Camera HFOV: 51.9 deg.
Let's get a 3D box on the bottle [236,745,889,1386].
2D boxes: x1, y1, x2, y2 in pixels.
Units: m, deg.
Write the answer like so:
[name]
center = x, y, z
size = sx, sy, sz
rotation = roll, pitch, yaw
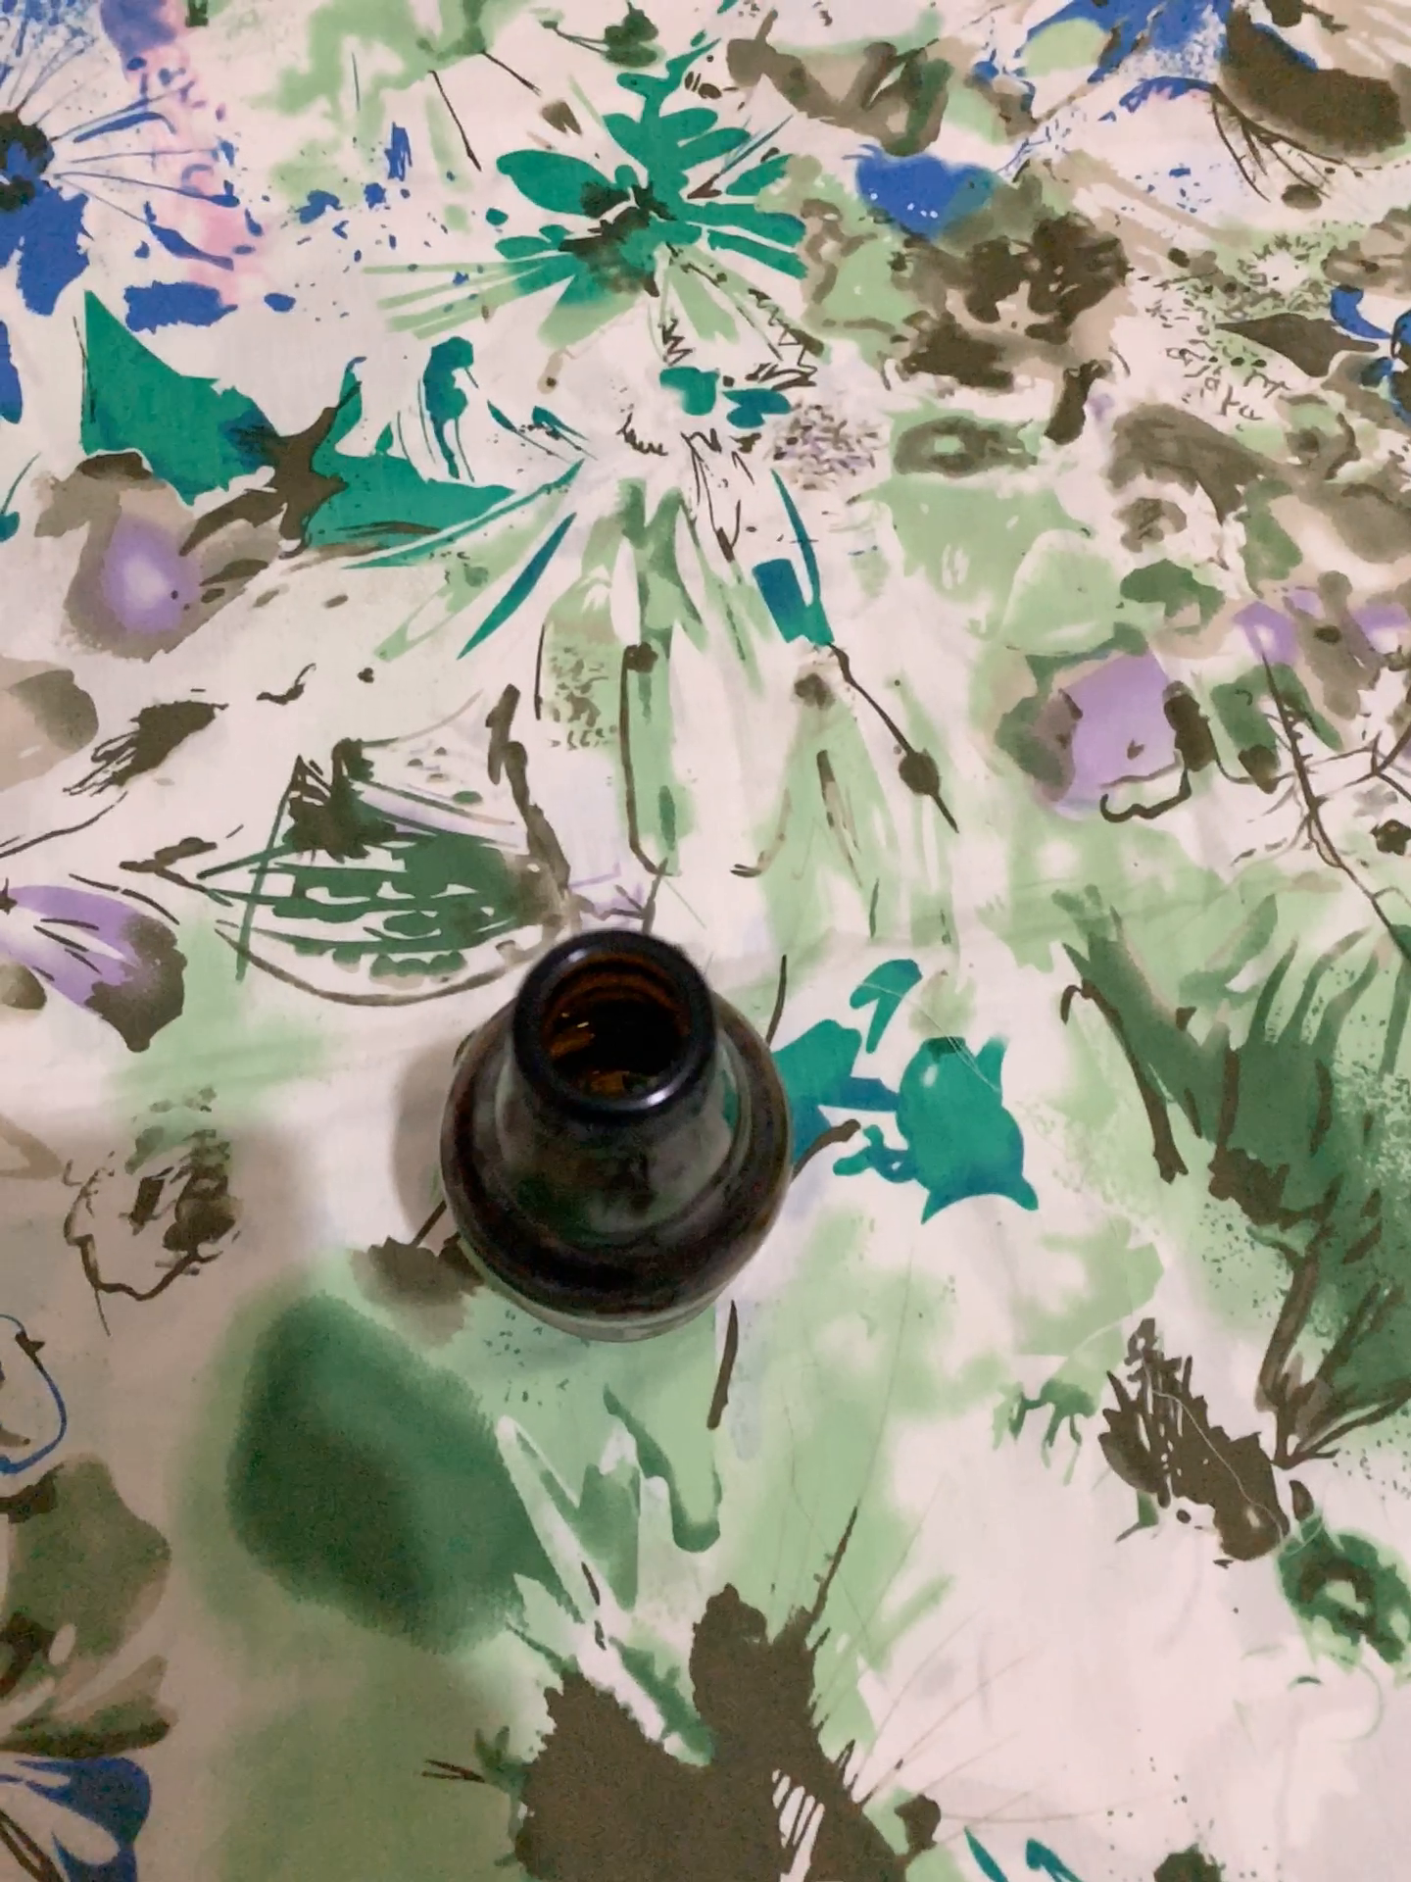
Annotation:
[bottle]
center = -0.019, 0.038, 0.252
size = 0.070, 0.180, 0.070
rotation = 1, 72, -3
